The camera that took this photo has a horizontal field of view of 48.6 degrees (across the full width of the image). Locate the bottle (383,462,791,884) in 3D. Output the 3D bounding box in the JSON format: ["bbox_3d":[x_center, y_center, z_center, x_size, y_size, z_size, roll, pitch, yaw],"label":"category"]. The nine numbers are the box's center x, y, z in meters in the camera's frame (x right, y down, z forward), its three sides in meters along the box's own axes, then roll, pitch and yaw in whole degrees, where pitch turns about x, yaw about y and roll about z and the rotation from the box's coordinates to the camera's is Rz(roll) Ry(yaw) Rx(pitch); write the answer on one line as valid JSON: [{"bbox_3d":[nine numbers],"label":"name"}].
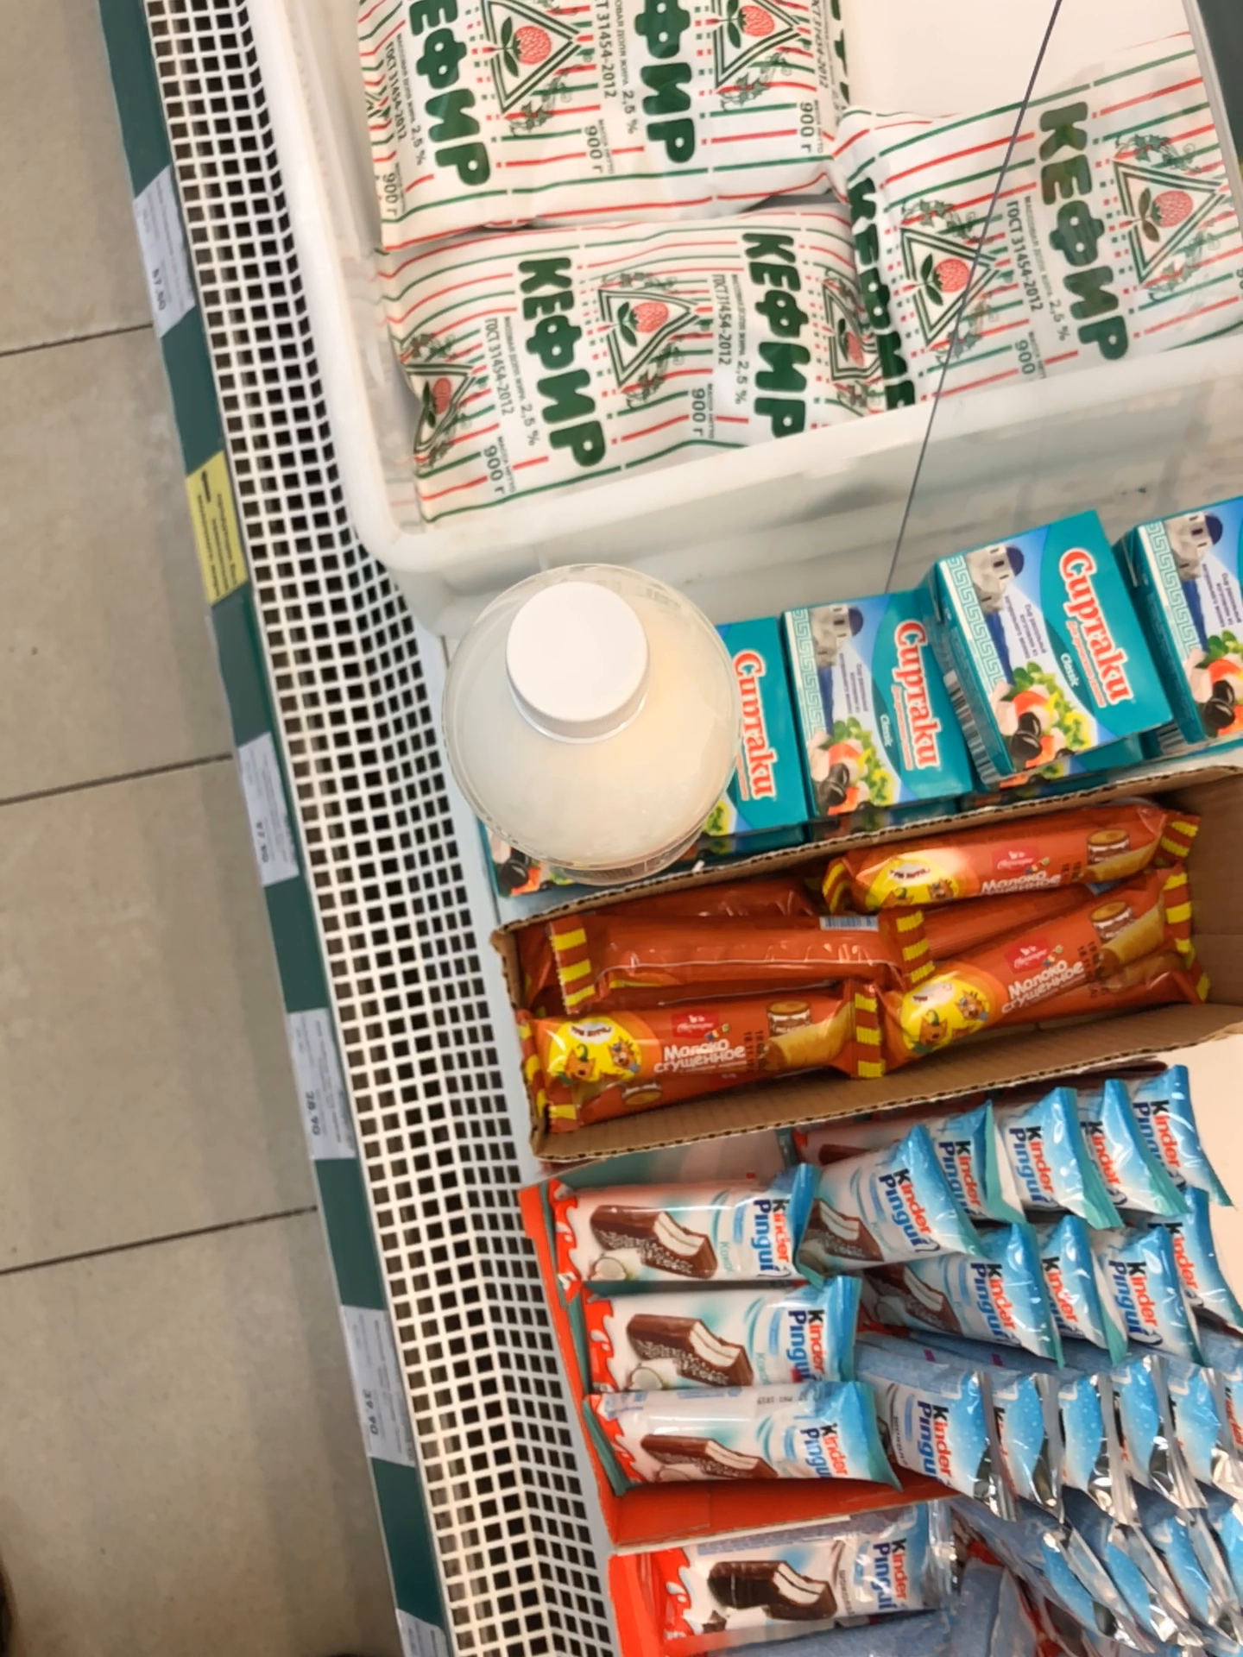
[{"bbox_3d":[-0.006,-0.027,0.407,0.079,0.251,0.077,0,86,1],"label":"bottle"}]
